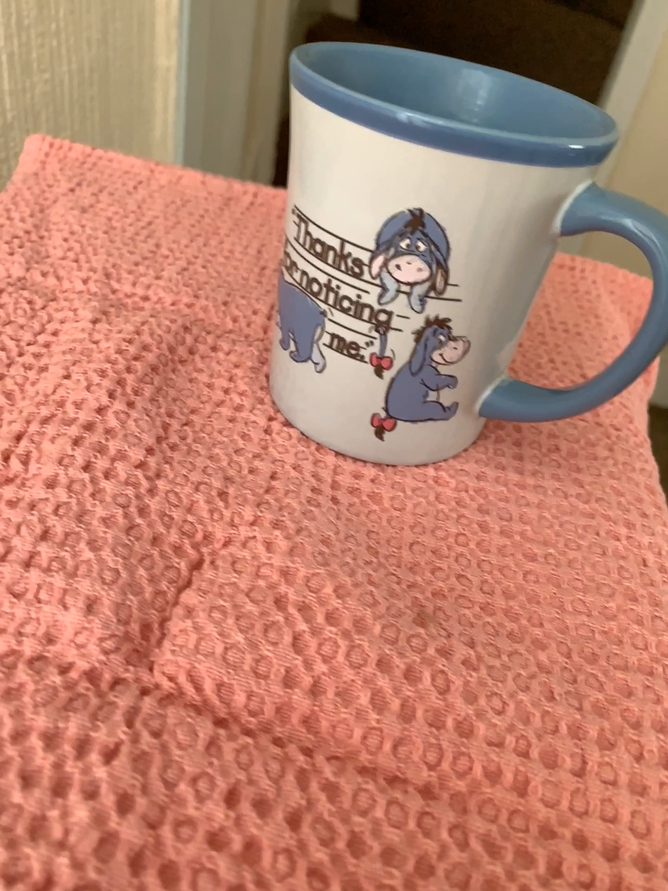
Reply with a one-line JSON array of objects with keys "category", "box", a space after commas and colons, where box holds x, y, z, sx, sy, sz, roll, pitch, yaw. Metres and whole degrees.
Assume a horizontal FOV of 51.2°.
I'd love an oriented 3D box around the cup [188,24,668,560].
[{"category": "cup", "box": [0.031, -0.054, 0.205, 0.110, 0.099, 0.091, 31, 41, 24]}]
